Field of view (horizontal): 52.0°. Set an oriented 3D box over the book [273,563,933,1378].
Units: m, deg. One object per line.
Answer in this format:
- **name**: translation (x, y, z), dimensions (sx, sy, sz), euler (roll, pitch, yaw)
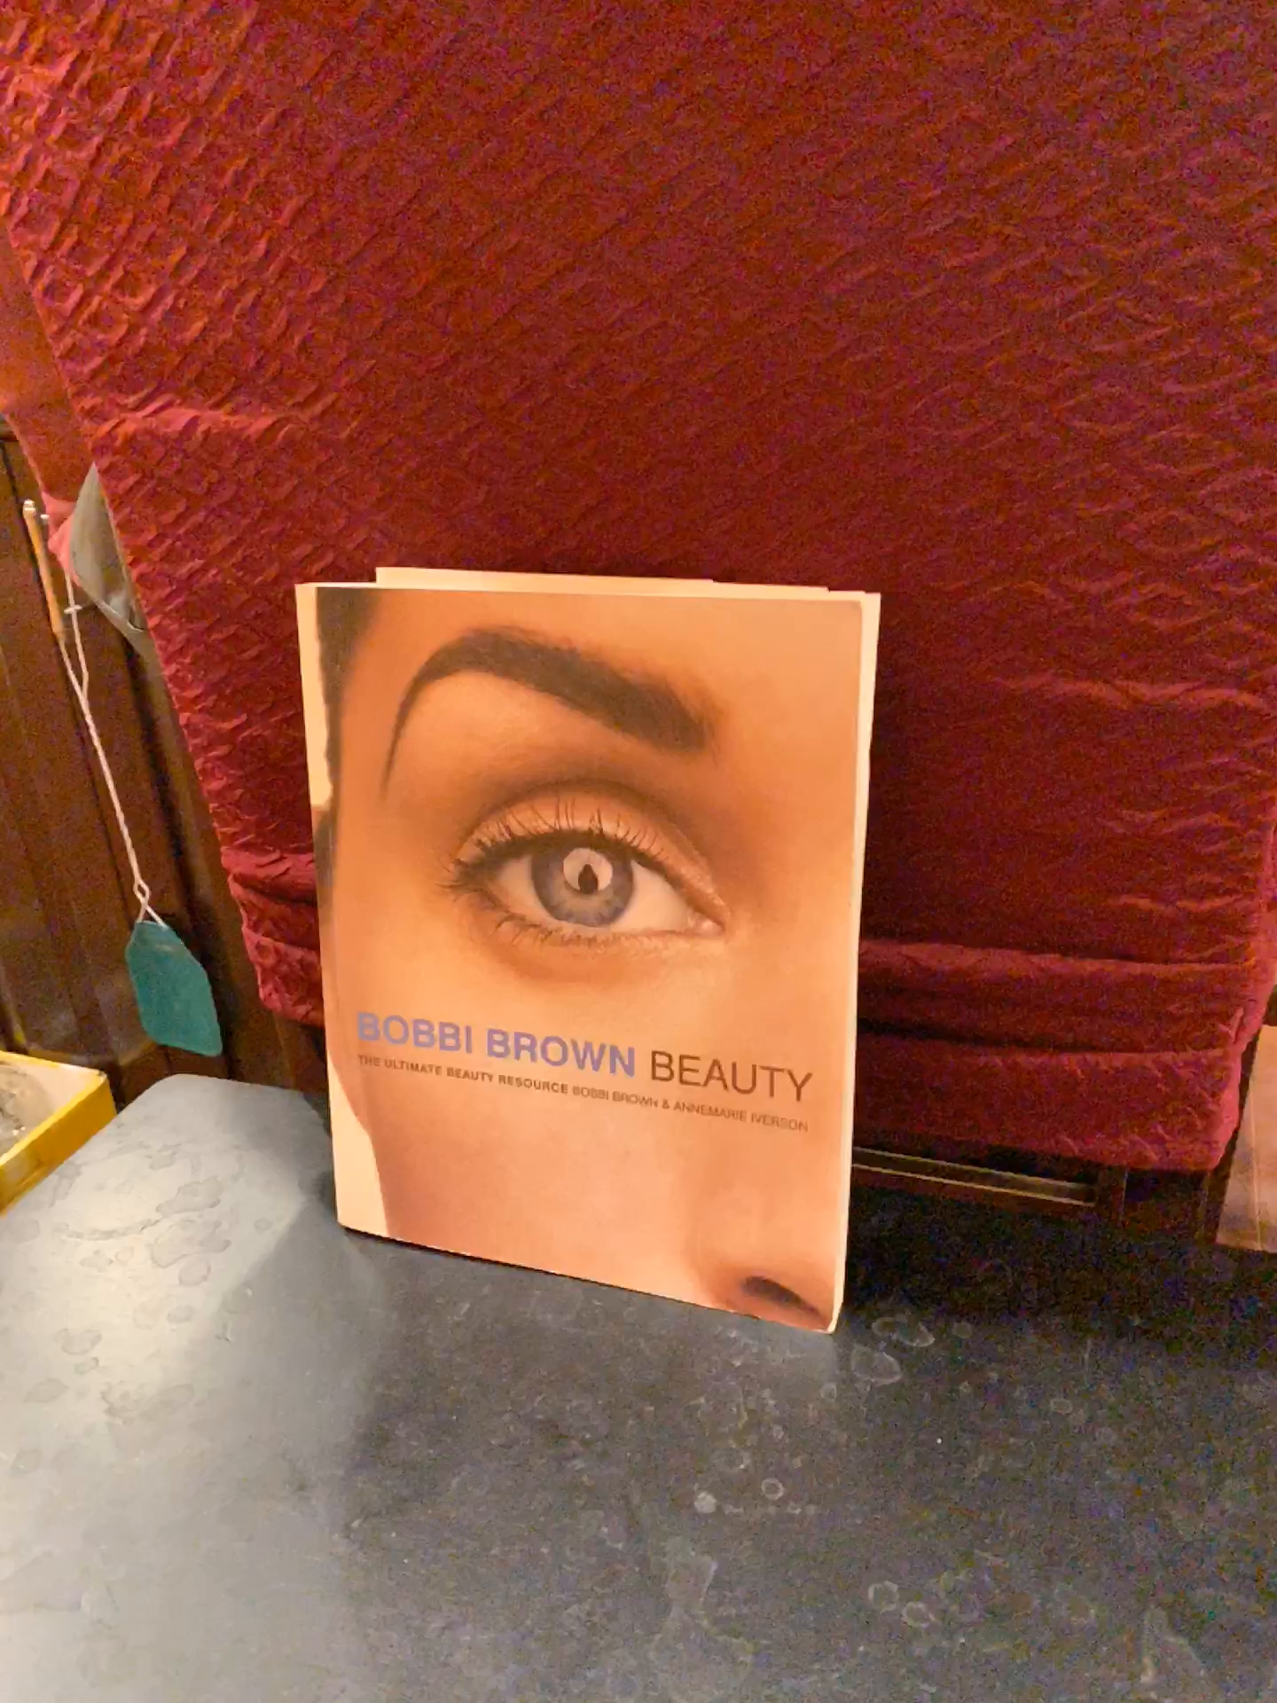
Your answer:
- **book**: translation (-0.015, 0.032, 0.418), dimensions (0.200, 0.239, 0.030), euler (5, 15, 21)
